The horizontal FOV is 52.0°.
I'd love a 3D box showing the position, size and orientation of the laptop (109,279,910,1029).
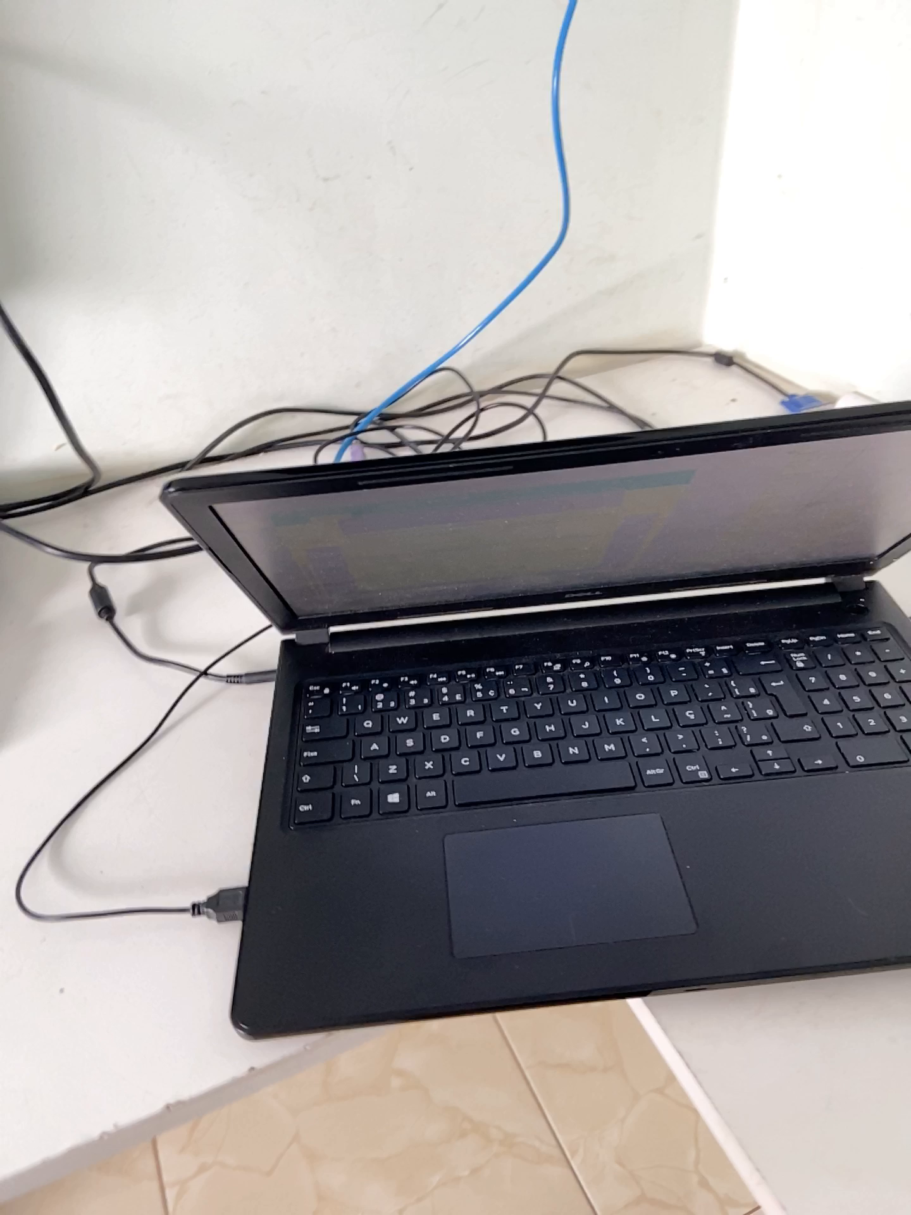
[{"bbox_3d":[0.083,-0.003,0.431,0.372,0.192,0.257,-5,35,-3],"label":"laptop"}]
